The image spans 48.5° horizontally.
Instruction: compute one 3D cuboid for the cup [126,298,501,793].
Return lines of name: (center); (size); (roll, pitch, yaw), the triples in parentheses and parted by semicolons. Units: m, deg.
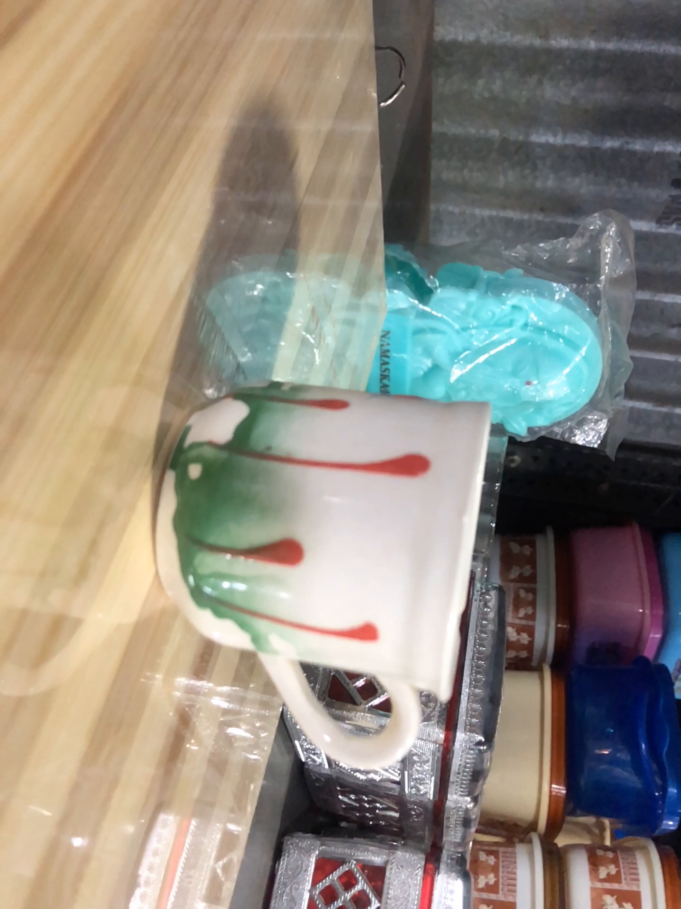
cup: (-0.001, 0.014, 0.191); (0.080, 0.070, 0.090); (-57, 152, -69)
